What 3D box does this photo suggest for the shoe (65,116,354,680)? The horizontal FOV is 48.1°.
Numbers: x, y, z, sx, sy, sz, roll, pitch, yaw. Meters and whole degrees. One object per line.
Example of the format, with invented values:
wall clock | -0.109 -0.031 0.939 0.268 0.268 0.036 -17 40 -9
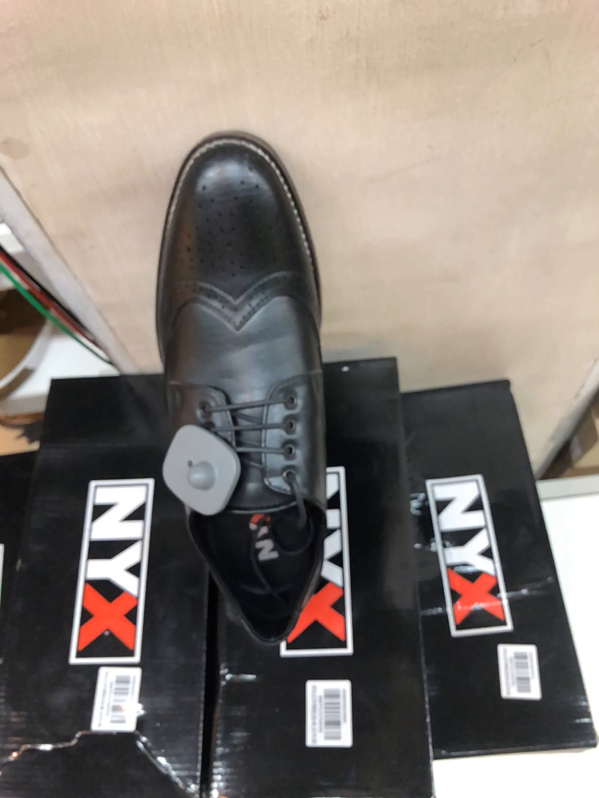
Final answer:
shoe | -0.032 0.004 0.382 0.106 0.296 0.107 -4 23 2
